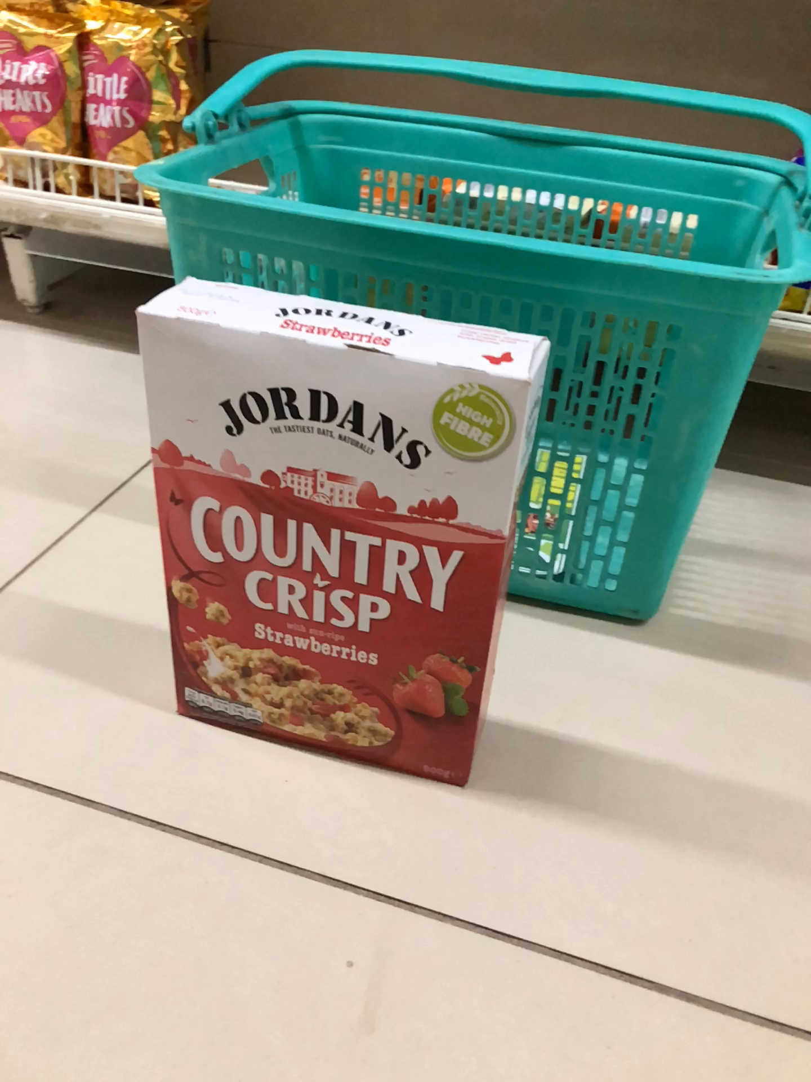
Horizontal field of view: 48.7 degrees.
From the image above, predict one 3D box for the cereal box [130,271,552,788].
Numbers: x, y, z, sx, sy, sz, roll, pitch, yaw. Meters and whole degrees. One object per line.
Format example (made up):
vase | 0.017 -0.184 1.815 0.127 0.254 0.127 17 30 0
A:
cereal box | -0.035 0.003 0.465 0.180 0.248 0.050 11 34 10
